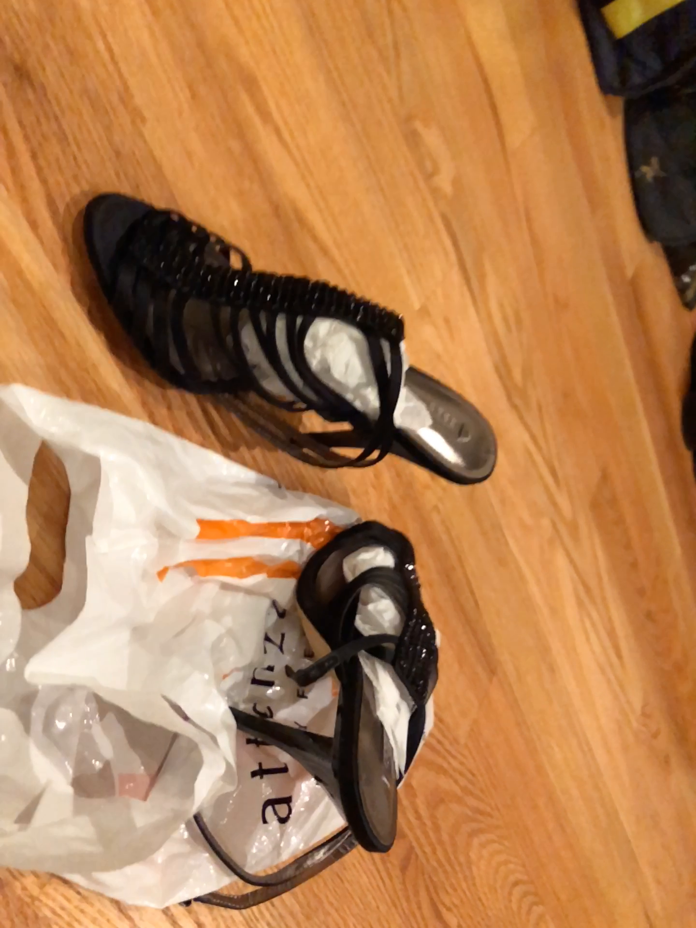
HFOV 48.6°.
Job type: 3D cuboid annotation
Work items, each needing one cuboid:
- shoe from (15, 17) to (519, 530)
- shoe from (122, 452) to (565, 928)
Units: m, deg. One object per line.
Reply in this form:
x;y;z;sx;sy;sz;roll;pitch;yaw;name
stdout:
-0.020;-0.066;0.371;0.218;0.112;0.090;49;50;-39;shoe
0.016;0.093;0.398;0.218;0.112;0.092;-47;123;-45;shoe
